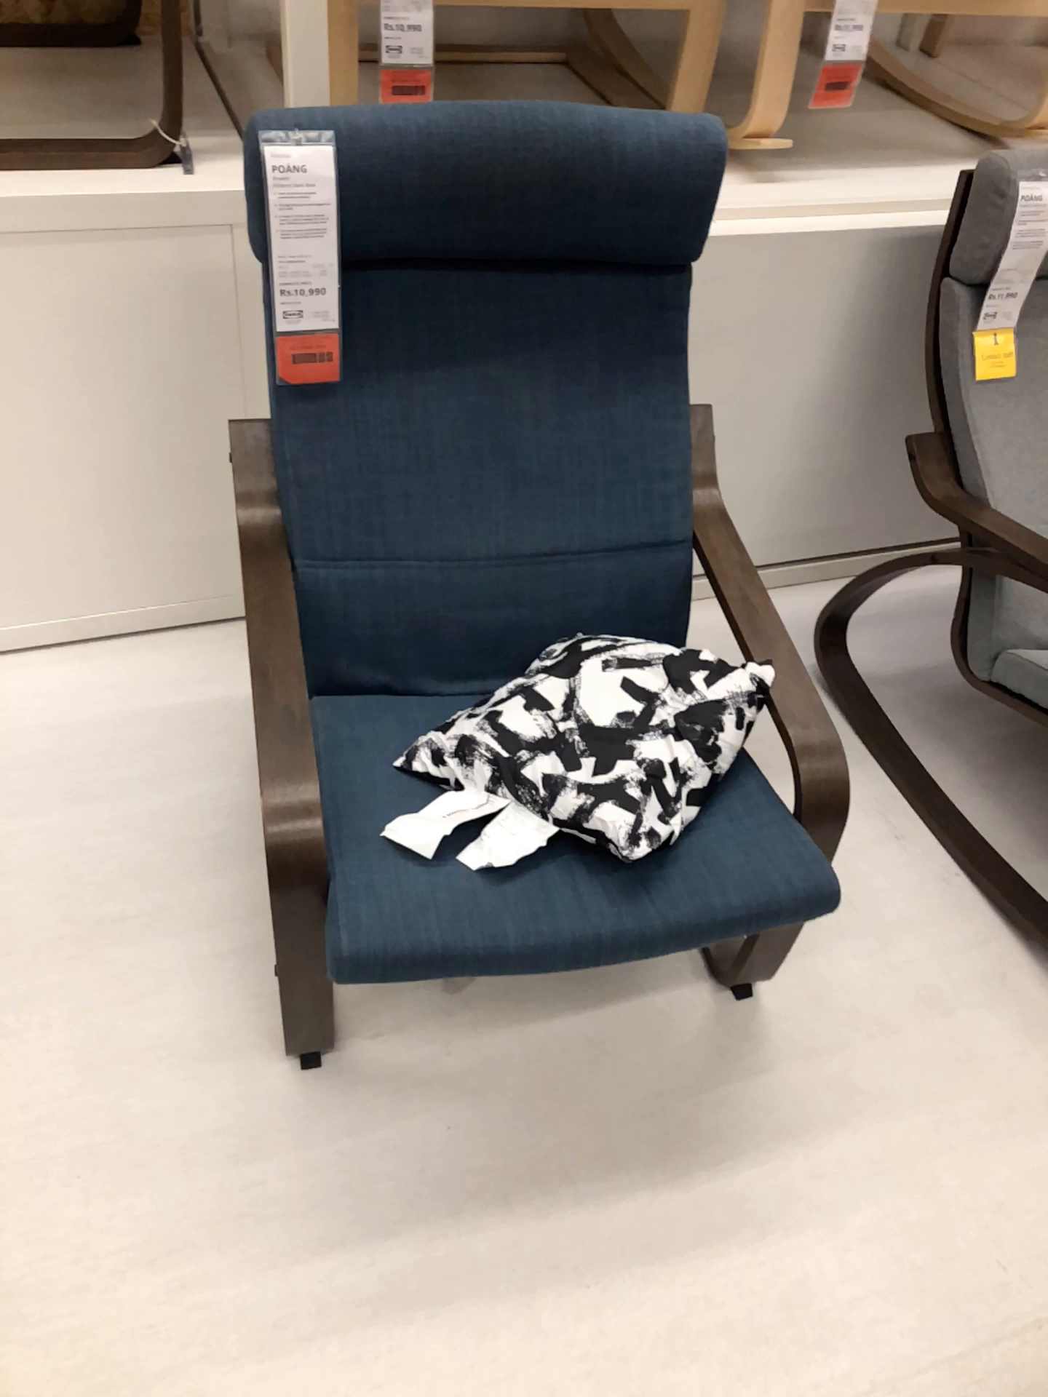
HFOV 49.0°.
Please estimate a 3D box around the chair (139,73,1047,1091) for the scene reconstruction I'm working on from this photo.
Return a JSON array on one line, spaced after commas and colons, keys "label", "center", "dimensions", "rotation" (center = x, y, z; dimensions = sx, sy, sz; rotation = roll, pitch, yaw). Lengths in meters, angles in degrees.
[{"label": "chair", "center": [-0.006, -0.136, 1.350], "dimensions": [0.720, 0.884, 0.694], "rotation": [-5, 44, -12]}]
